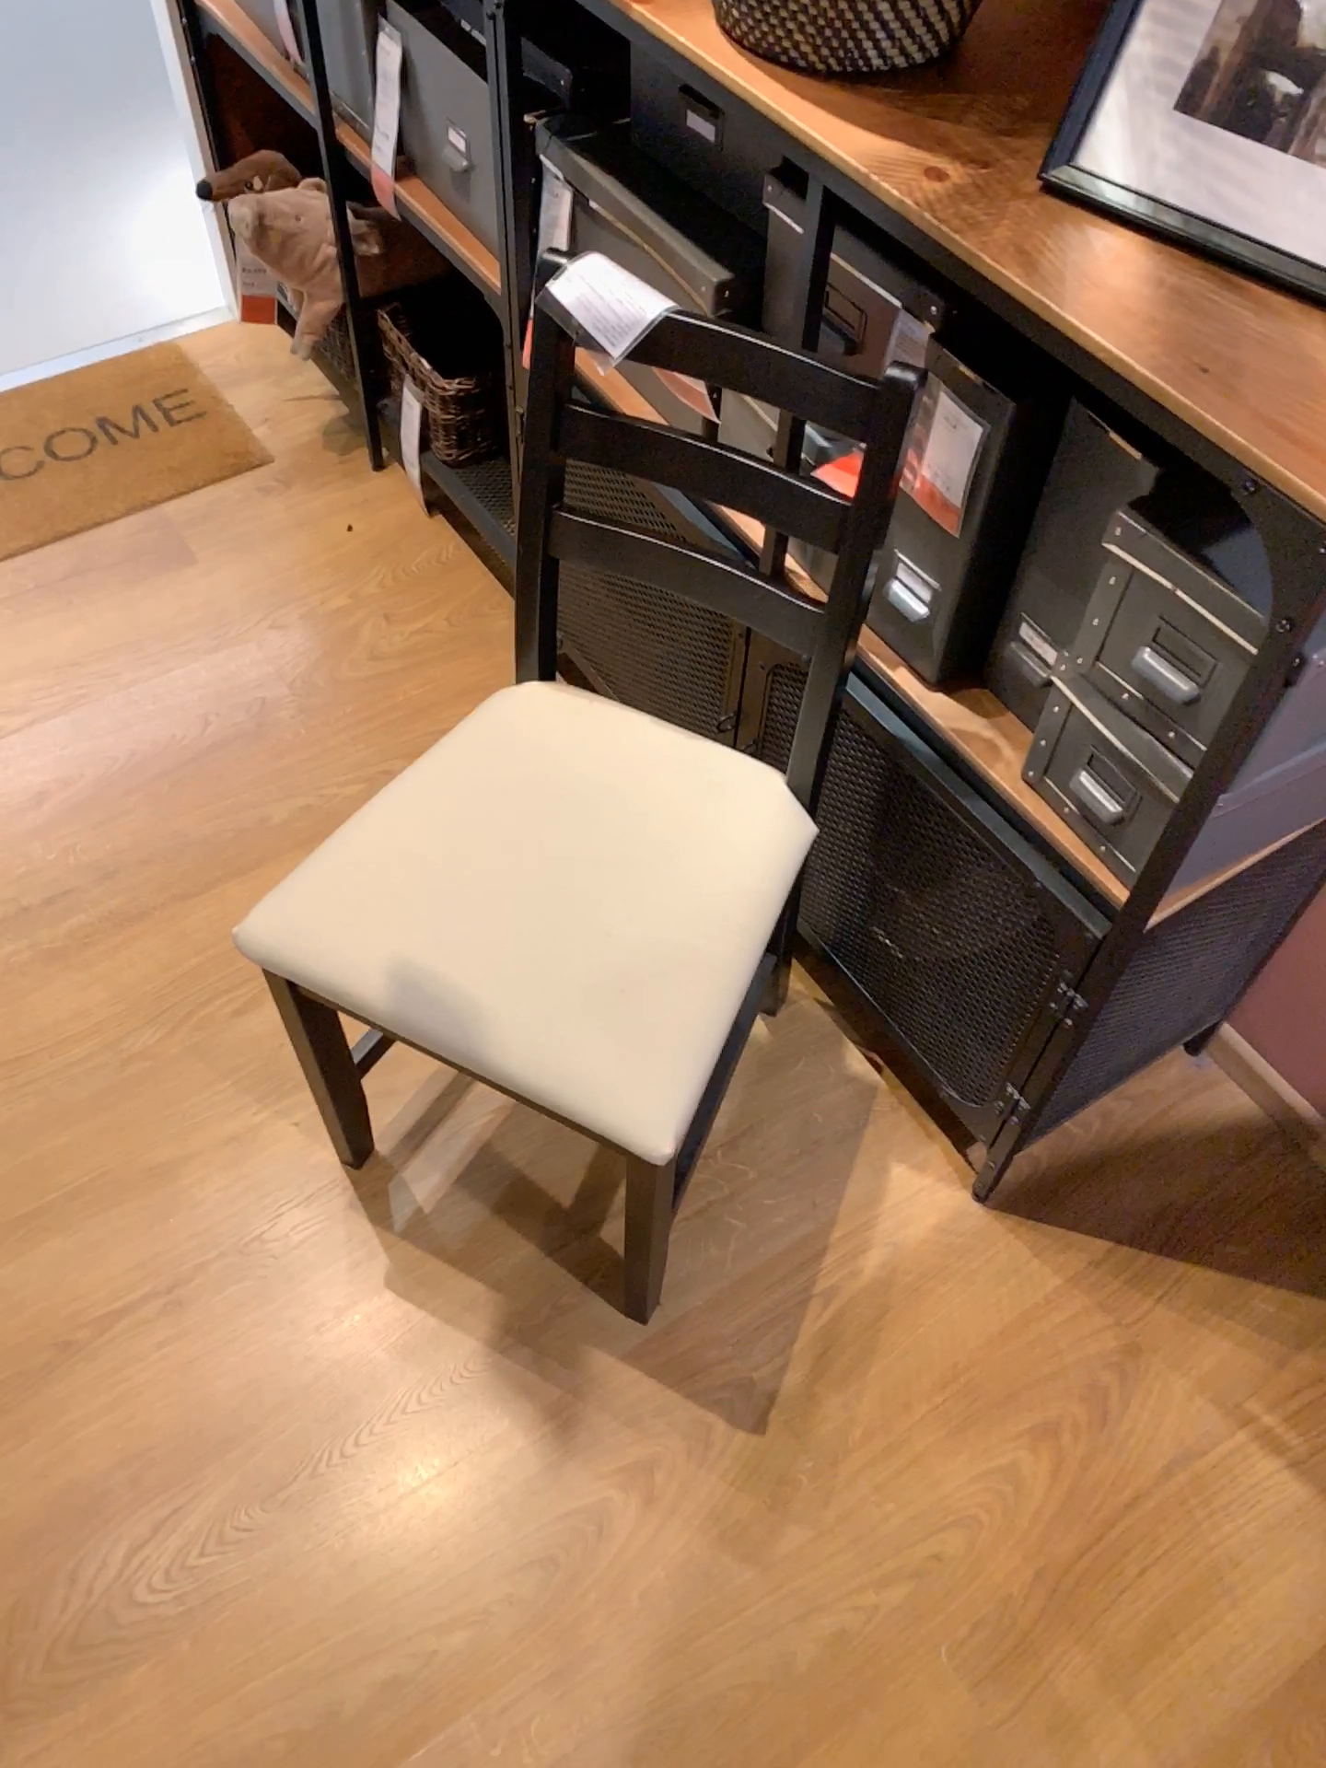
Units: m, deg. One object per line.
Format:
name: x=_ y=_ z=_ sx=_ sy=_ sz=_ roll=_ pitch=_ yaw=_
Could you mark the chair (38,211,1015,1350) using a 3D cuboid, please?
chair: x=-0.069 y=-0.045 z=1.200 sx=0.430 sy=0.767 sz=0.541 roll=23 pitch=57 yaw=14
